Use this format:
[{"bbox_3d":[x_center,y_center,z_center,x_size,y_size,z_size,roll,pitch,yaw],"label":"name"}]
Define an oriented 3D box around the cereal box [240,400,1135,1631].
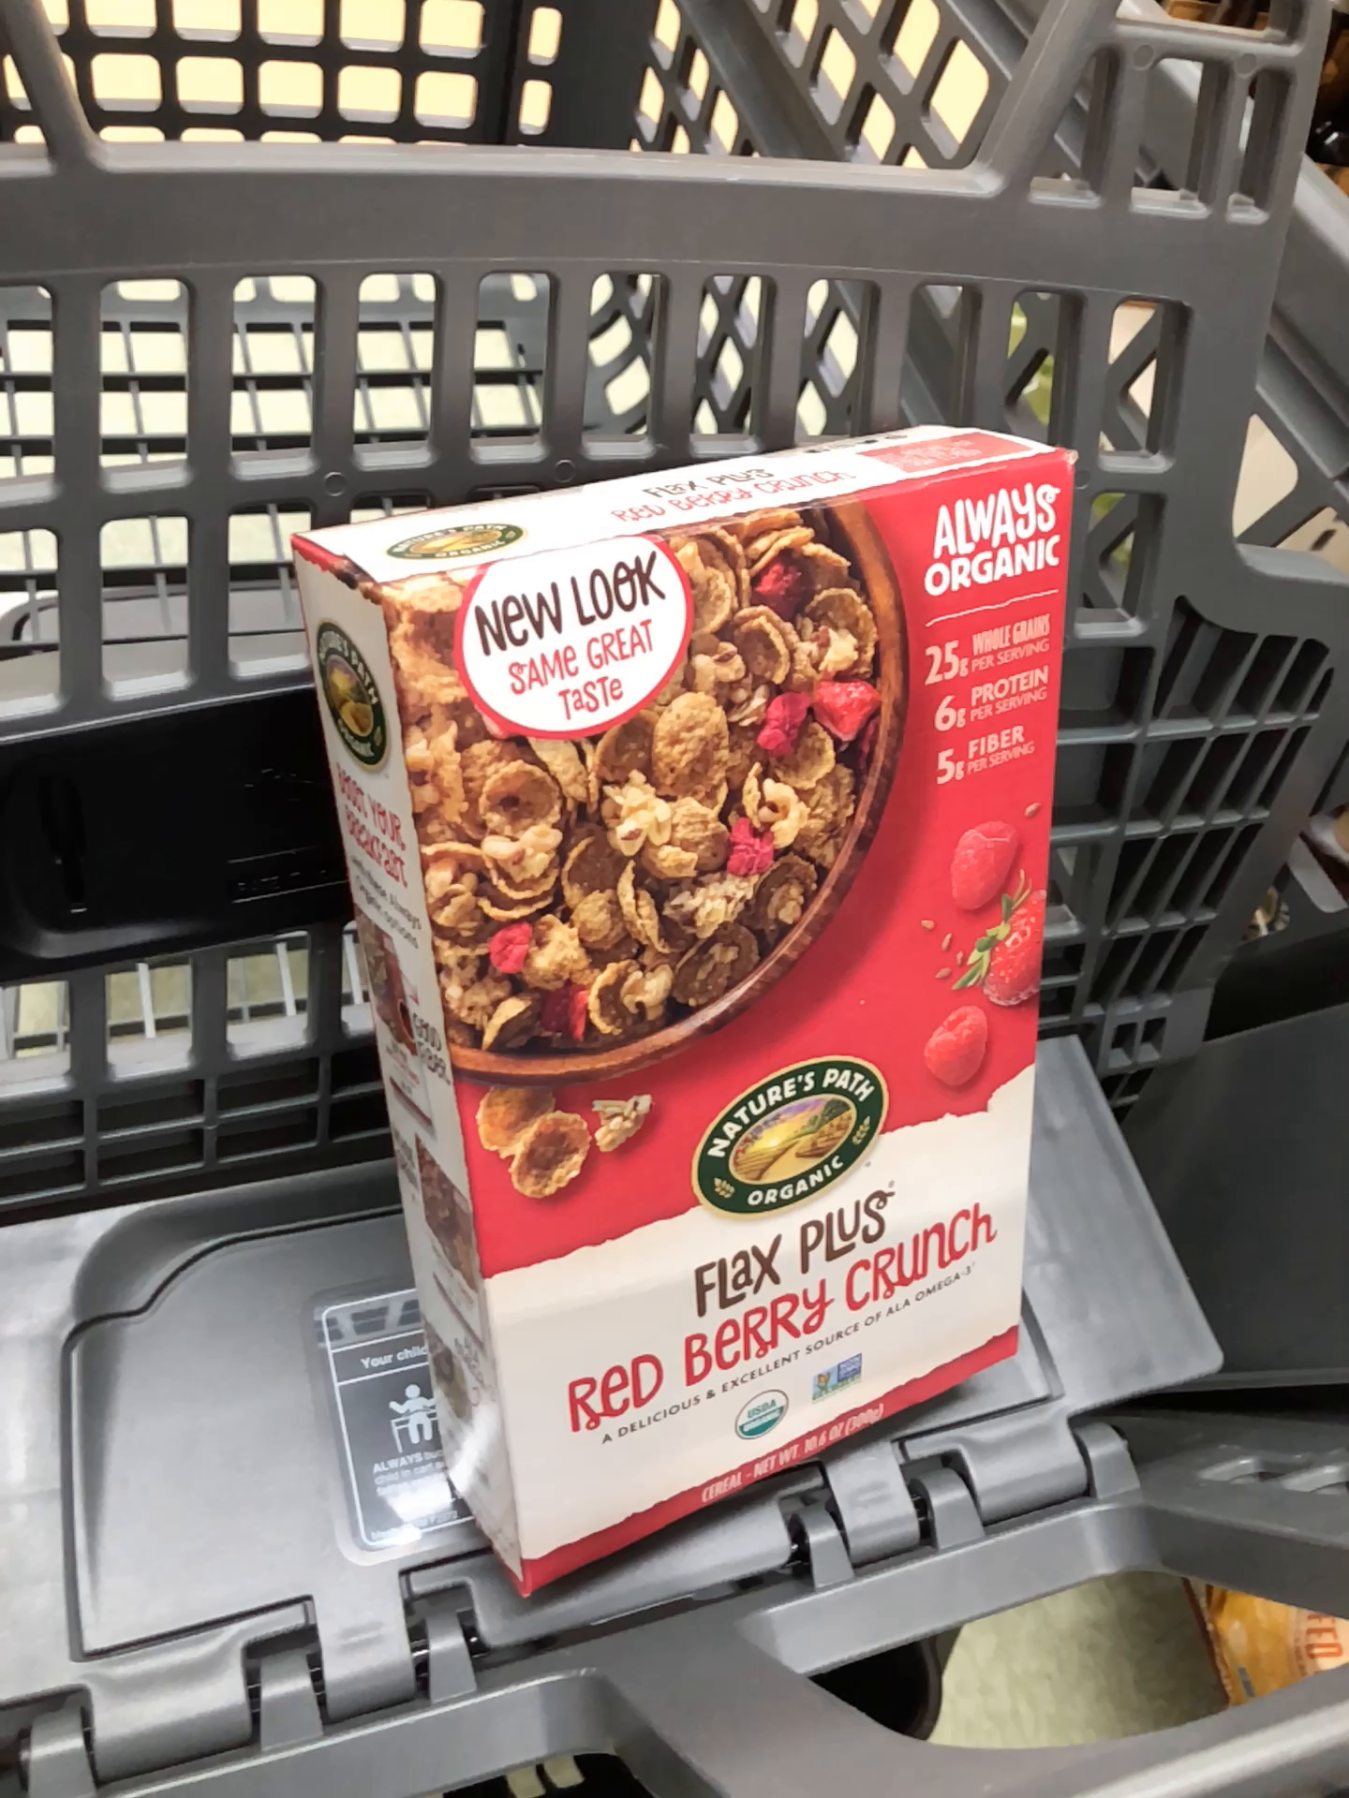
[{"bbox_3d":[0.015,0.025,0.359,0.170,0.250,0.070,-17,28,-23],"label":"cereal box"}]
